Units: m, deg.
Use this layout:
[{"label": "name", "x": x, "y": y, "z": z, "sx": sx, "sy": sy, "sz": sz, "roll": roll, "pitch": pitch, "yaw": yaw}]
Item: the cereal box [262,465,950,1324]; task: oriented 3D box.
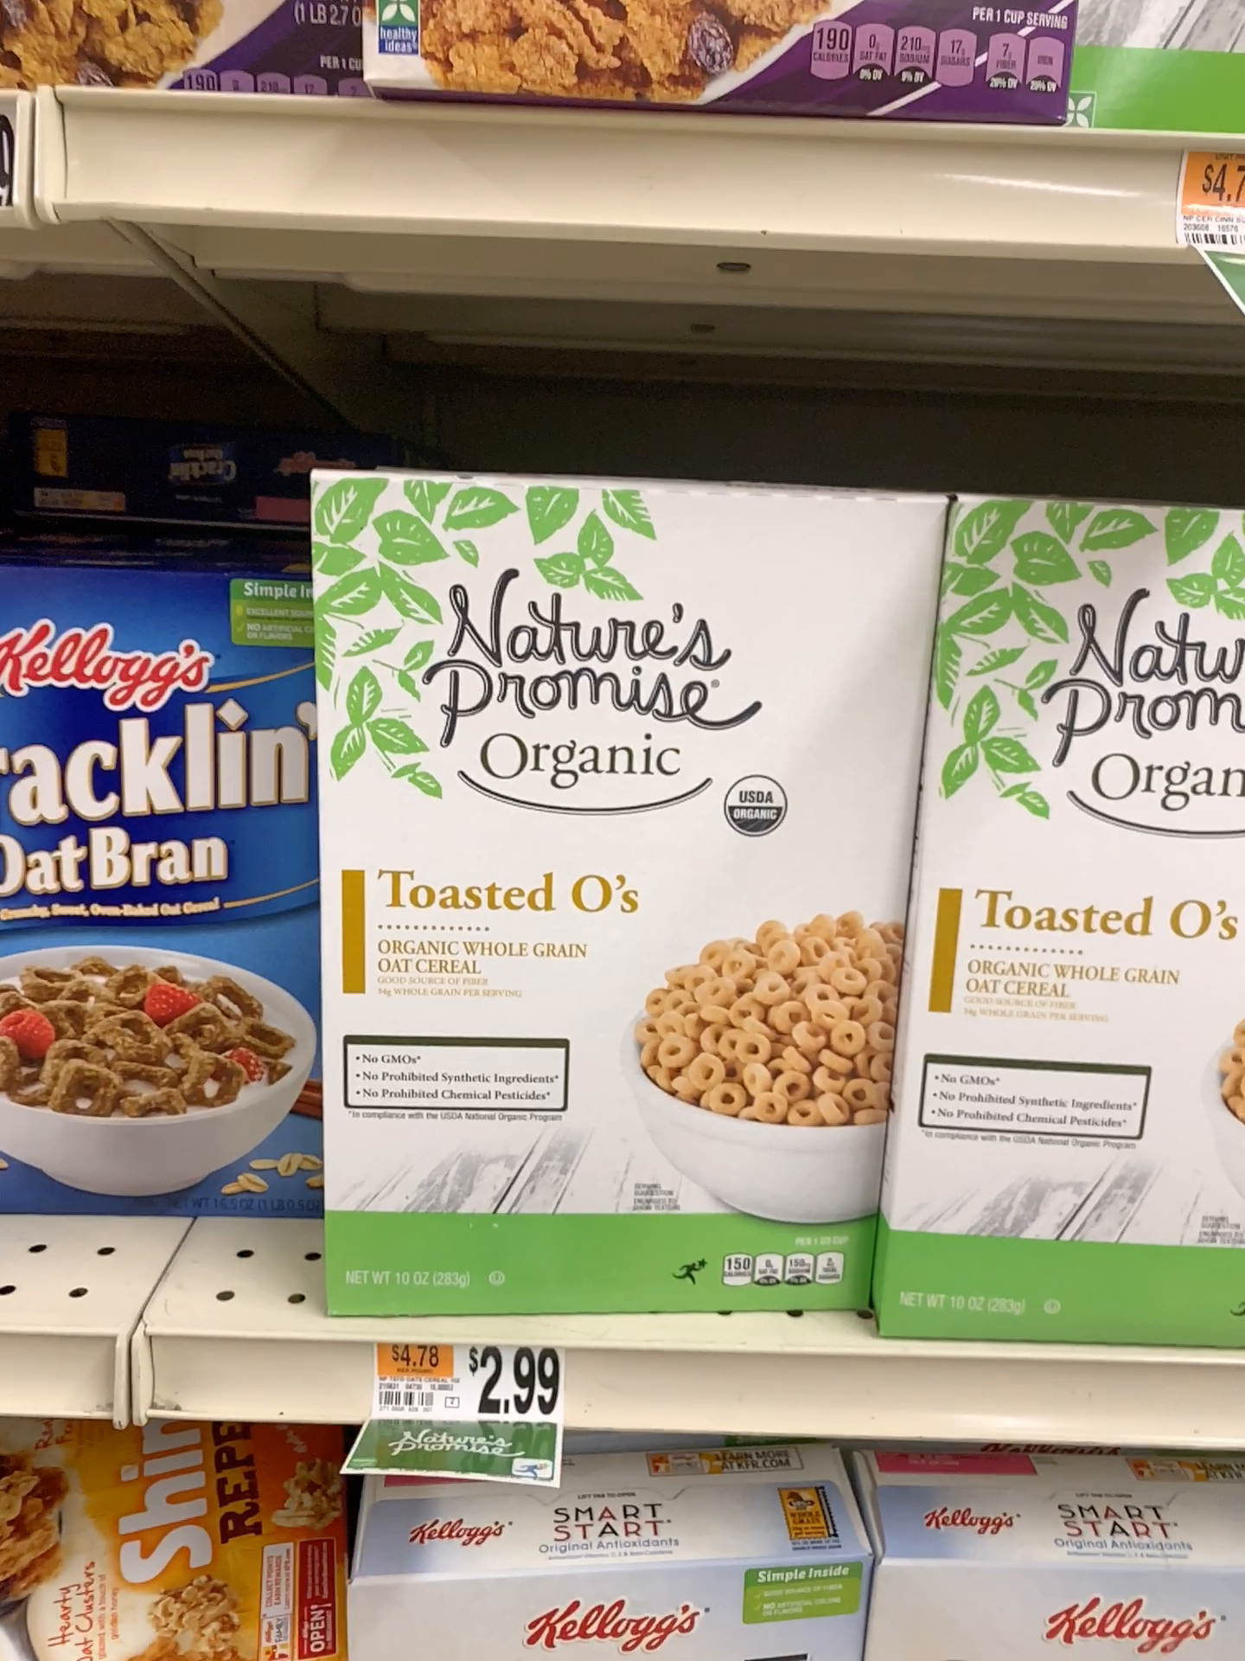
[{"label": "cereal box", "x": -0.009, "y": 0.023, "z": 0.423, "sx": 0.190, "sy": 0.269, "sz": 0.070, "roll": 1, "pitch": 15, "yaw": -4}]
